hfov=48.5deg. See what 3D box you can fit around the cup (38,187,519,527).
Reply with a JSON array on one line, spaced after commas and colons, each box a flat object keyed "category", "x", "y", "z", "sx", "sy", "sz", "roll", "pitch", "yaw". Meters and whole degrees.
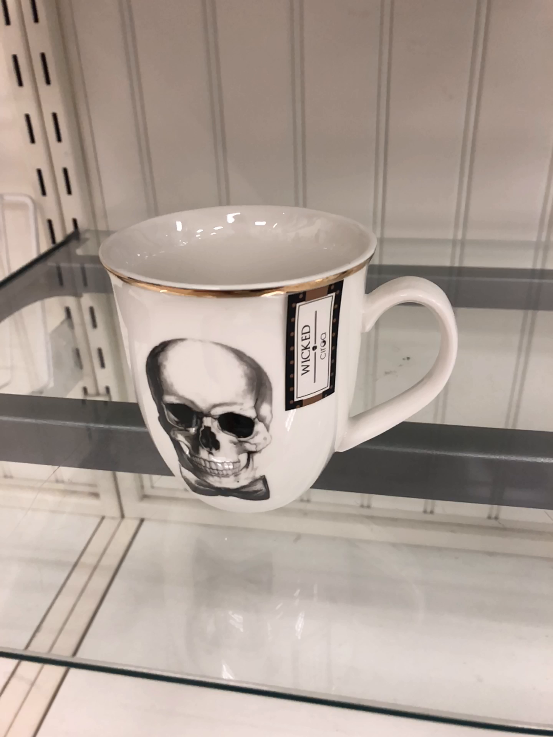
[{"category": "cup", "x": 0.001, "y": -0.010, "z": 0.229, "sx": 0.130, "sy": 0.088, "sz": 0.095, "roll": -2, "pitch": 28, "yaw": 0}]
